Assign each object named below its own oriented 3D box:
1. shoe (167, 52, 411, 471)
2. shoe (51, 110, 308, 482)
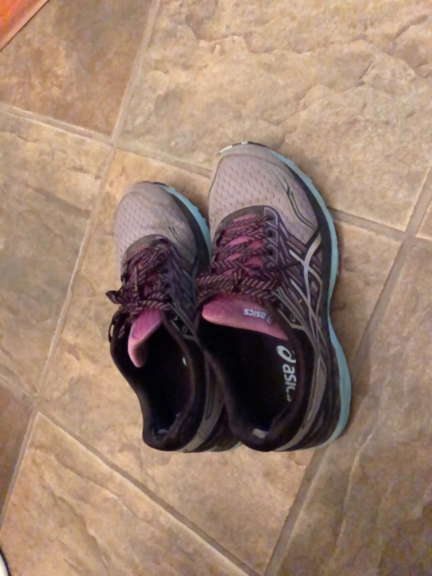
[{"bbox_3d":[0.062,-0.013,0.389,0.110,0.120,0.280,-14,82,30],"label":"shoe"},{"bbox_3d":[-0.034,0.006,0.436,0.110,0.120,0.280,-25,76,28],"label":"shoe"}]
